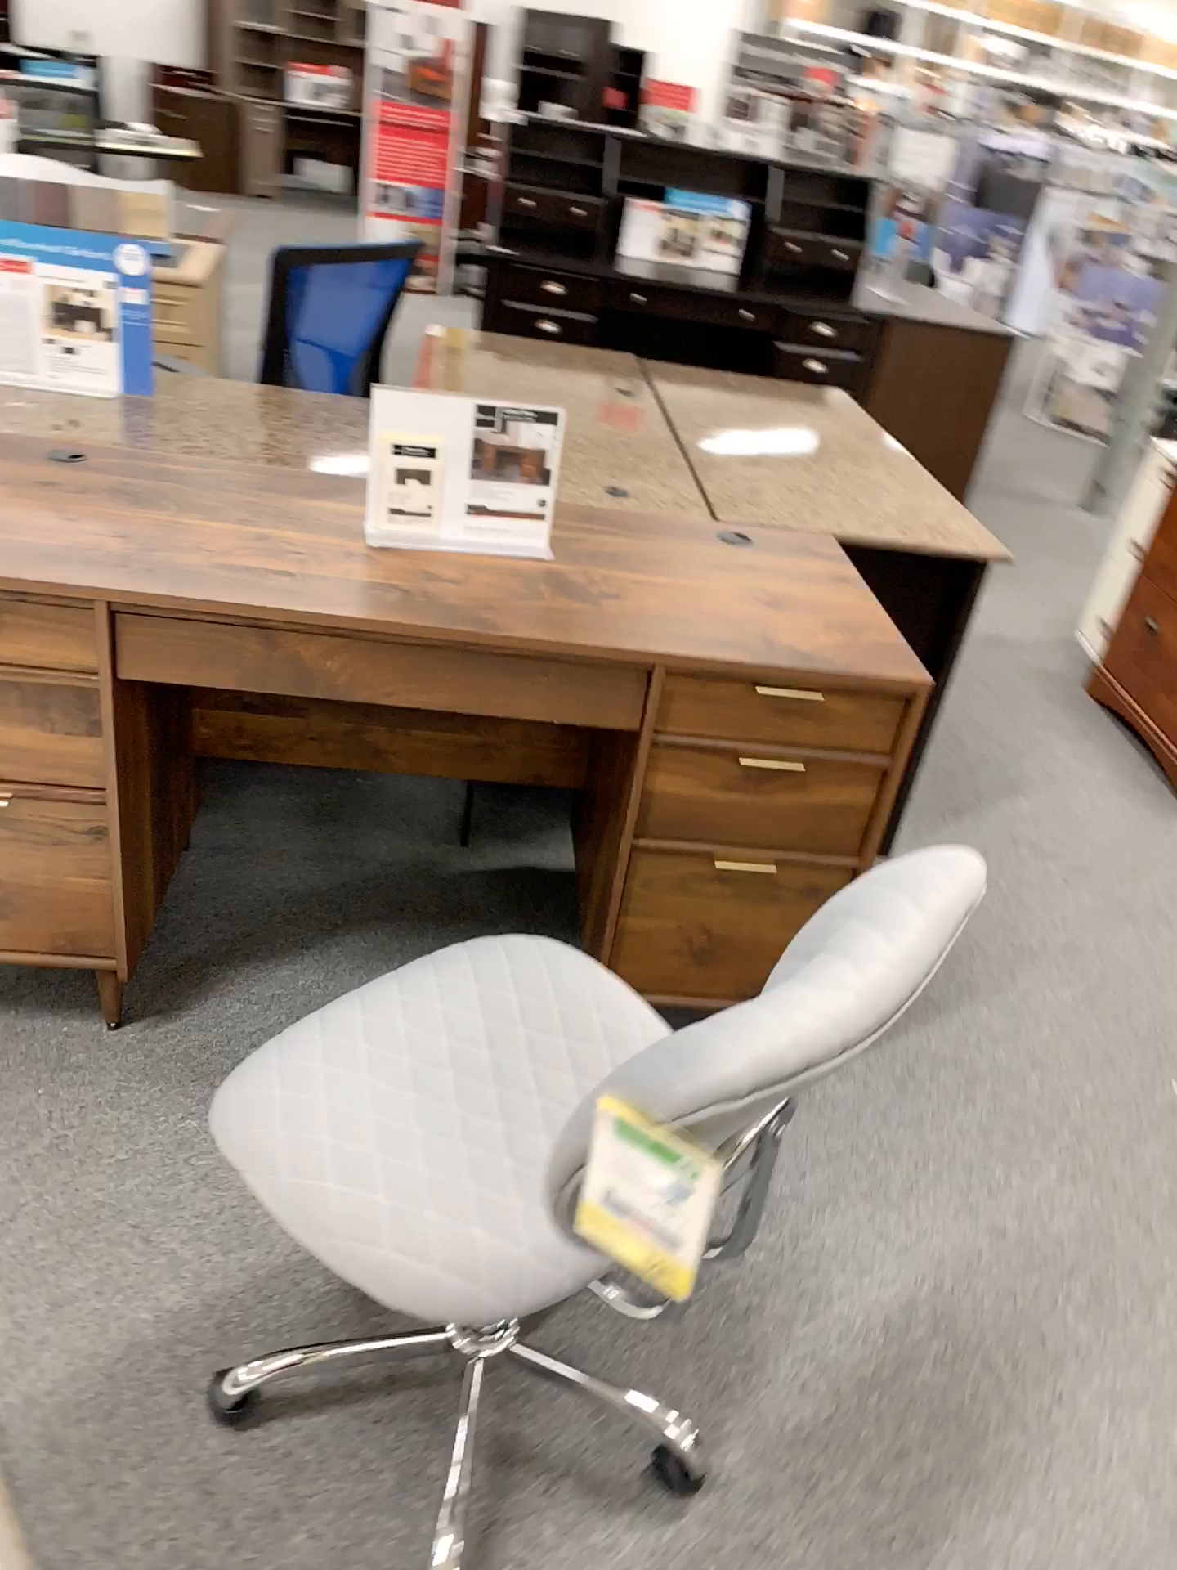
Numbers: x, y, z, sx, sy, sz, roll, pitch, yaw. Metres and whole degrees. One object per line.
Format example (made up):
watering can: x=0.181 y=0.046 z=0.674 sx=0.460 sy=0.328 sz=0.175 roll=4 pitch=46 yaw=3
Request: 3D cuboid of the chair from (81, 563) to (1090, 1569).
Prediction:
chair: x=-0.057 y=0.338 z=1.275 sx=0.632 sy=0.875 sz=0.641 roll=-21 pitch=42 yaw=-41
